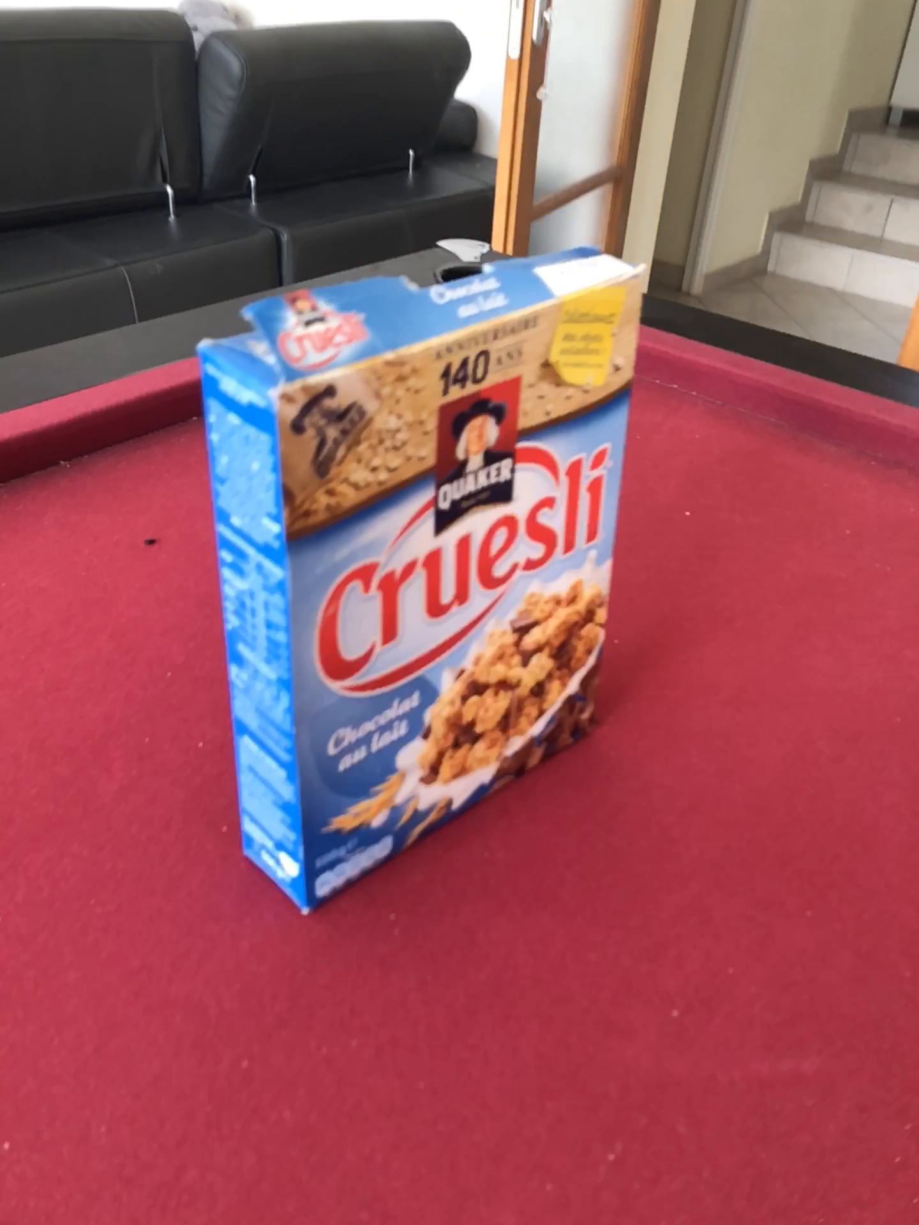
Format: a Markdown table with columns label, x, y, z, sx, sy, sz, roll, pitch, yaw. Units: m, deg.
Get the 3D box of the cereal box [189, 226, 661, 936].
| label | x | y | z | sx | sy | sz | roll | pitch | yaw |
| --- | --- | --- | --- | --- | --- | --- | --- | --- | --- |
| cereal box | -0.010 | -0.014 | 0.431 | 0.050 | 0.258 | 0.191 | 30 | 41 | 33 |
